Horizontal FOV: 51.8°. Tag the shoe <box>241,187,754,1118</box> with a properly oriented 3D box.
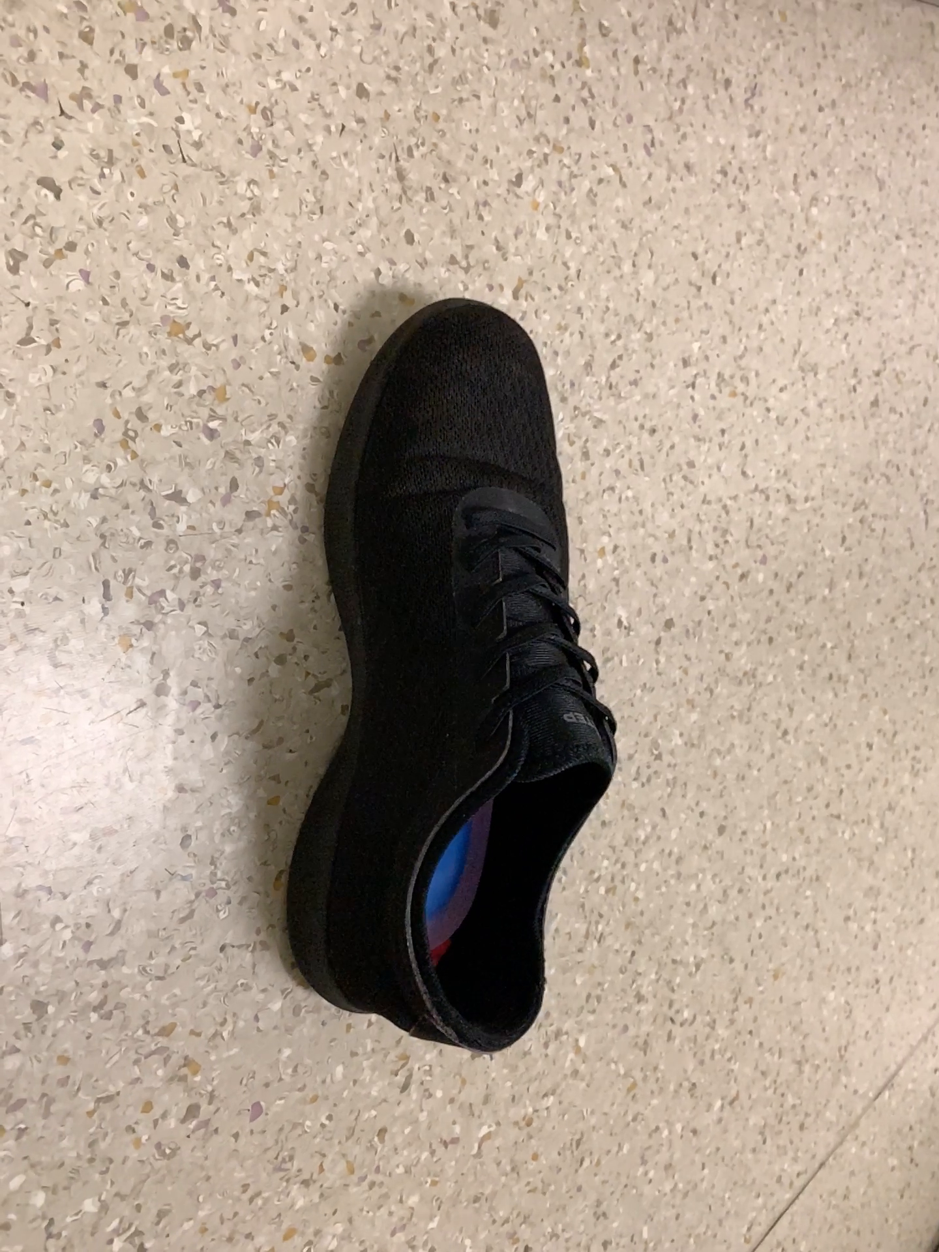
[{"bbox_3d":[0.012,0.009,0.357,0.105,0.099,0.280,13,85,-41],"label":"shoe"}]
